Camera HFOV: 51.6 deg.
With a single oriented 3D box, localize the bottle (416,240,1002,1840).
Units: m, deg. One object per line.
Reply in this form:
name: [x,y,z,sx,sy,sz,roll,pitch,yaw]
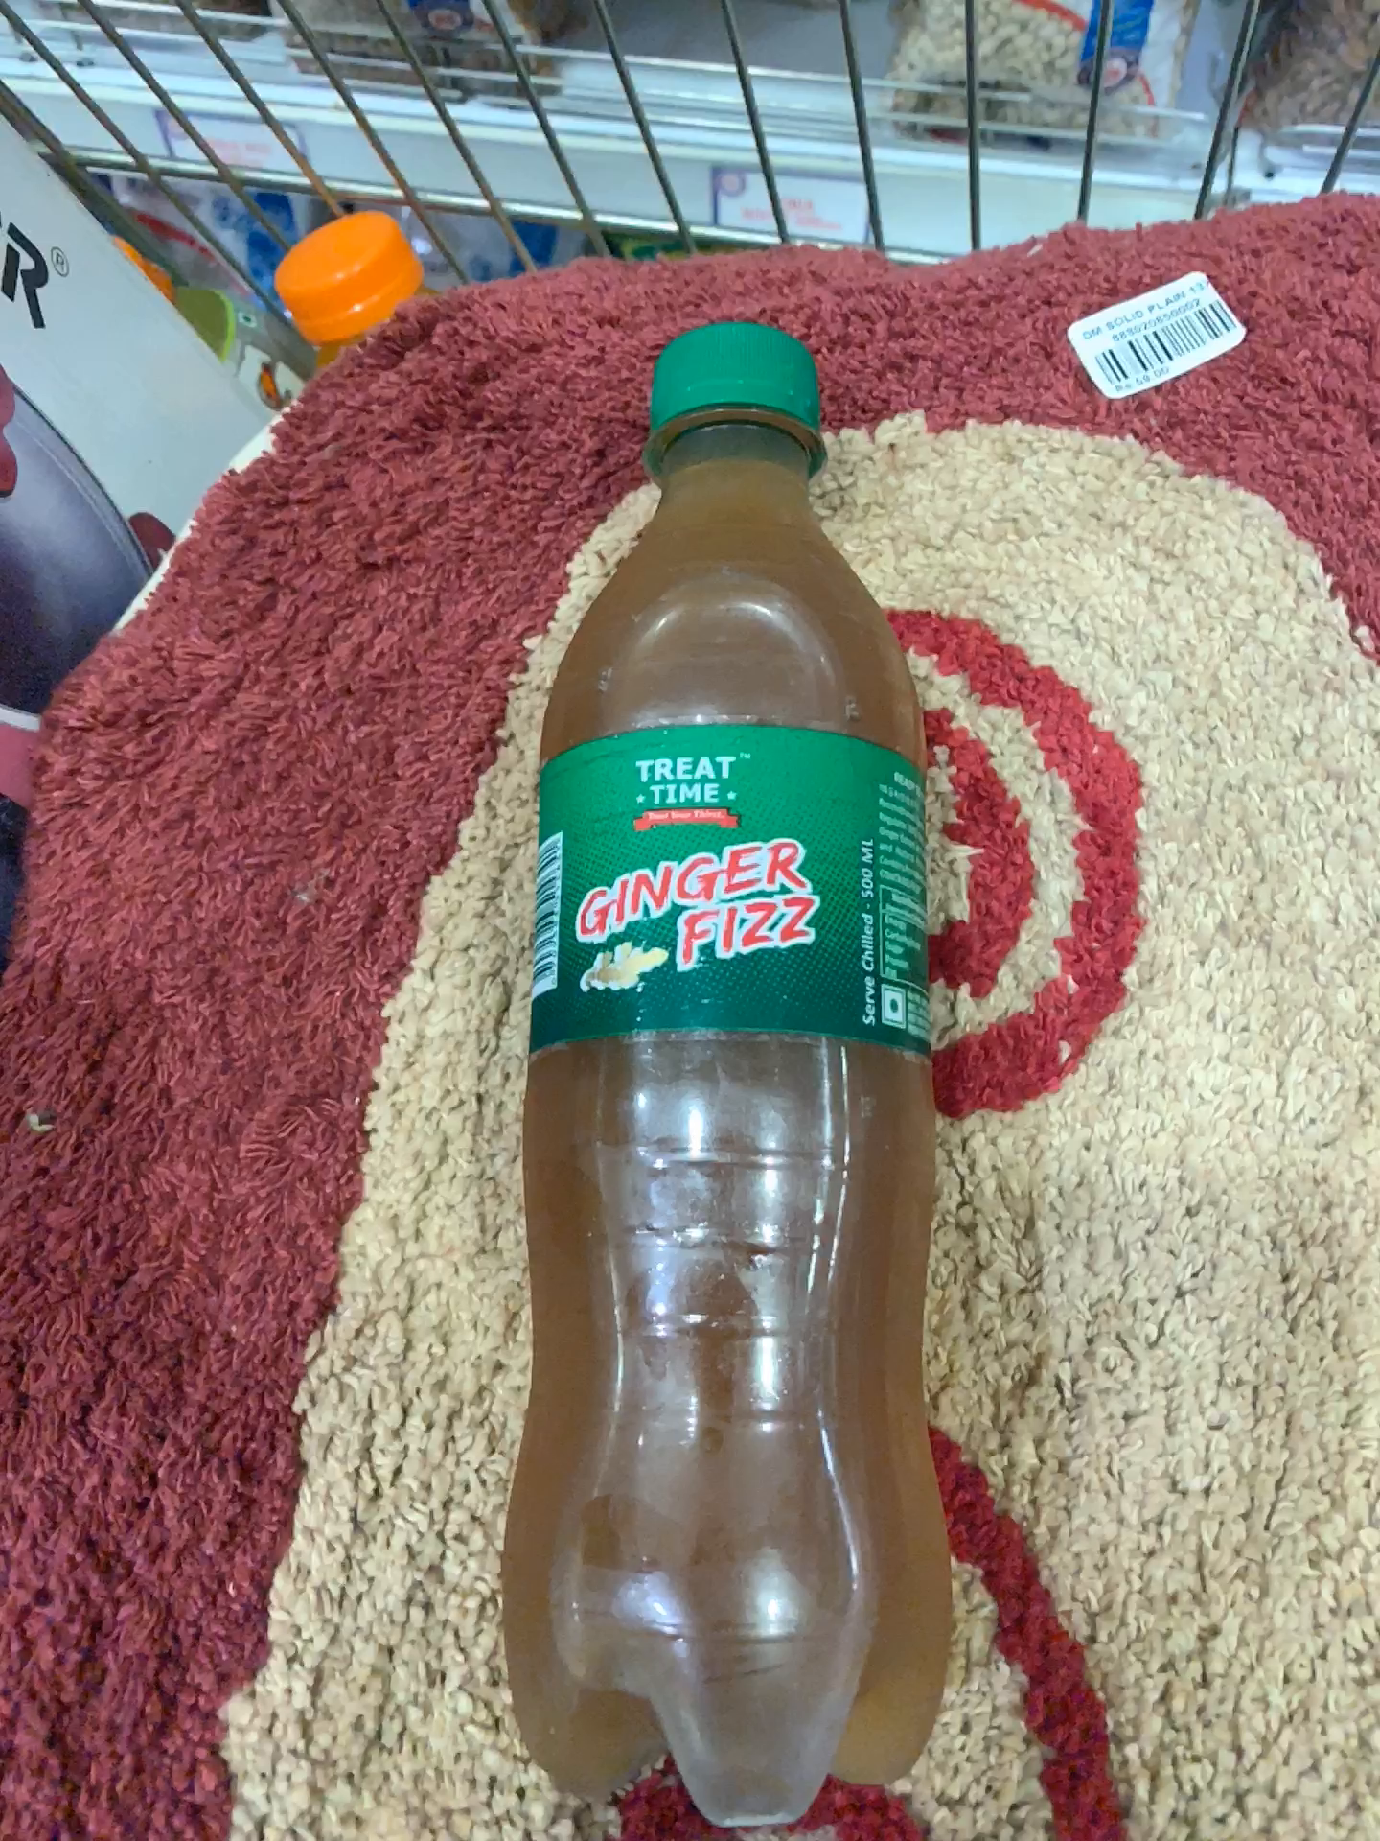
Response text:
bottle: [0.007,0.015,0.225,0.070,0.070,0.220,0,79,5]
